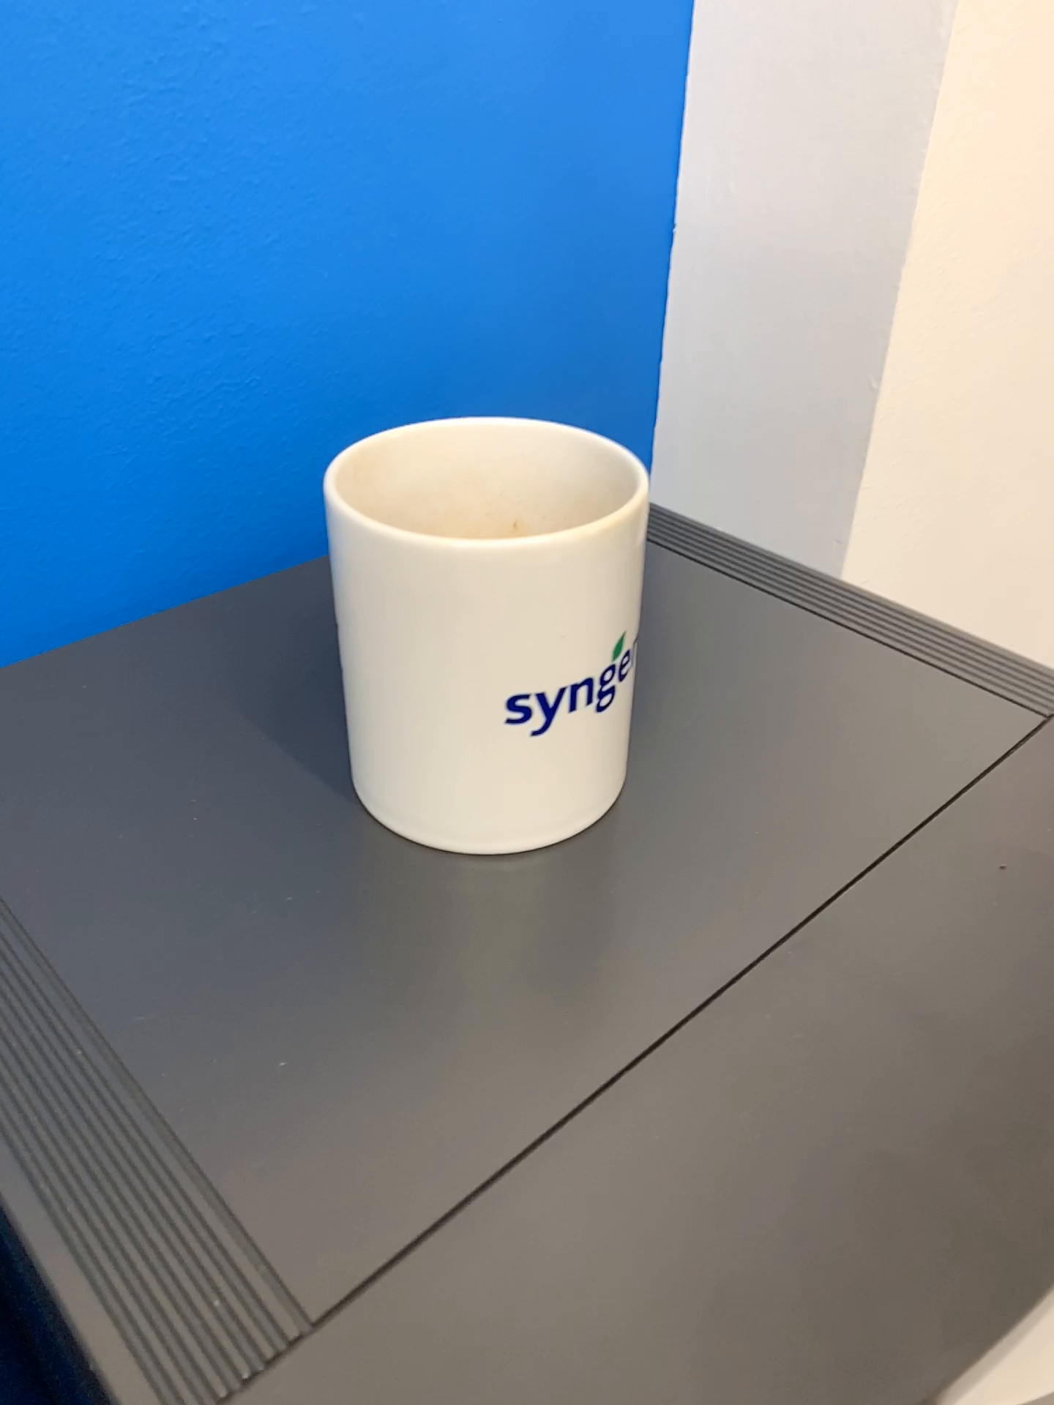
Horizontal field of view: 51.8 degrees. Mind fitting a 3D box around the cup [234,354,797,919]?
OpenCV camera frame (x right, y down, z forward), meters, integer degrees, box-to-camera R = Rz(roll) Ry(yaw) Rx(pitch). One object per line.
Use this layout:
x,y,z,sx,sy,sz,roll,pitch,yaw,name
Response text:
0.002,-0.029,0.312,0.088,0.094,0.132,22,39,27,cup
